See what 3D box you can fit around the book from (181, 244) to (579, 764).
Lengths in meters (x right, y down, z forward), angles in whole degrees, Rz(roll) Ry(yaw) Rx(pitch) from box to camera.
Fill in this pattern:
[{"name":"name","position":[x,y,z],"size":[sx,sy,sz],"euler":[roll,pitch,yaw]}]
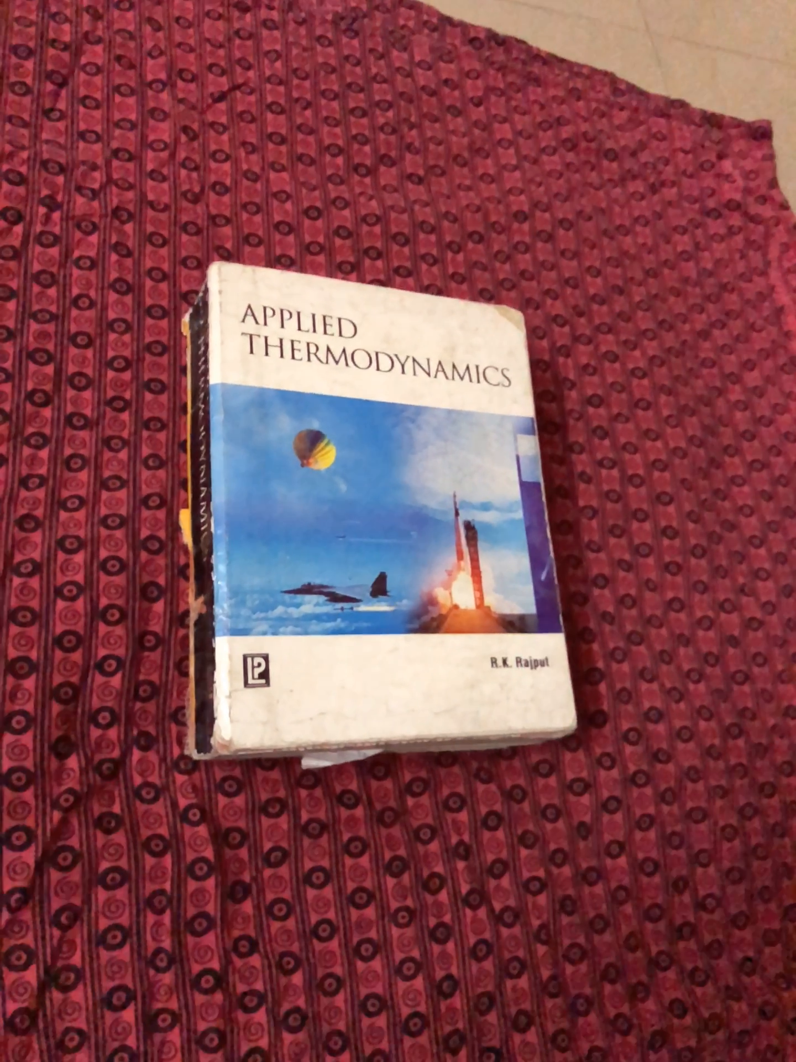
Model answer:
[{"name":"book","position":[-0.016,-0.011,0.454],"size":[0.179,0.060,0.240],"euler":[3,71,-23]}]
